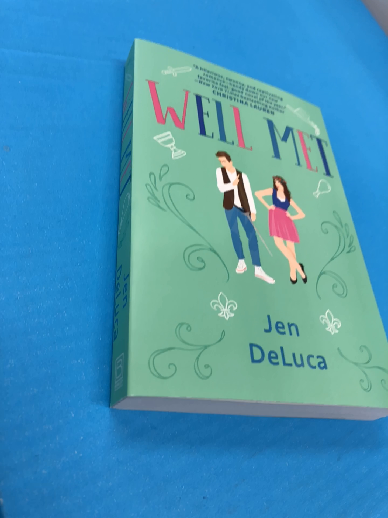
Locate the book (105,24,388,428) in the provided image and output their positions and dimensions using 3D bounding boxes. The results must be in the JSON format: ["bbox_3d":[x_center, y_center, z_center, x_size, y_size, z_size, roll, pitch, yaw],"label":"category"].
[{"bbox_3d":[0.032,-0.025,0.242,0.146,0.030,0.216,12,56,-24],"label":"book"}]
